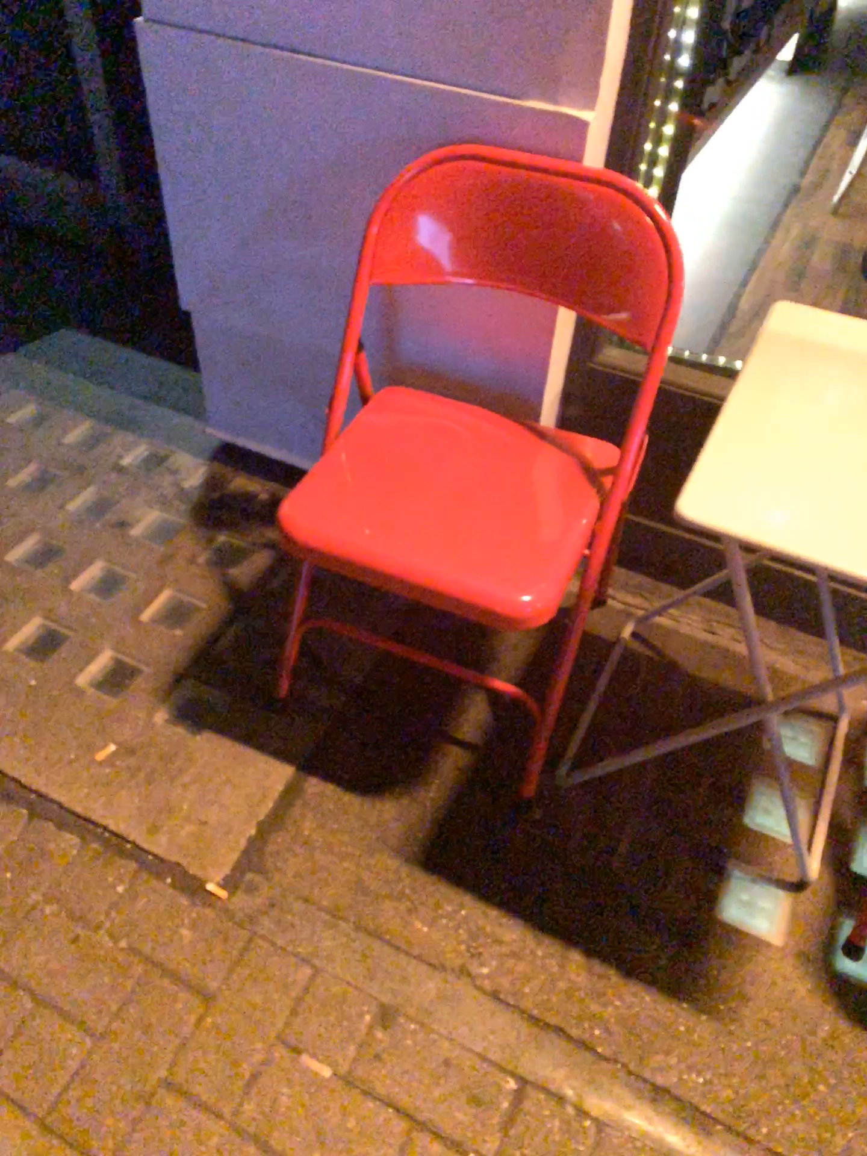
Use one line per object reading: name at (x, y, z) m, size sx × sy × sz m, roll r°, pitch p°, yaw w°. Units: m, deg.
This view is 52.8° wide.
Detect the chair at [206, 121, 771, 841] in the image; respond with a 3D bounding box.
chair at (0.080, -0.128, 1.238) m, size 0.471 × 0.743 × 0.534 m, roll 20°, pitch 47°, yaw 15°
